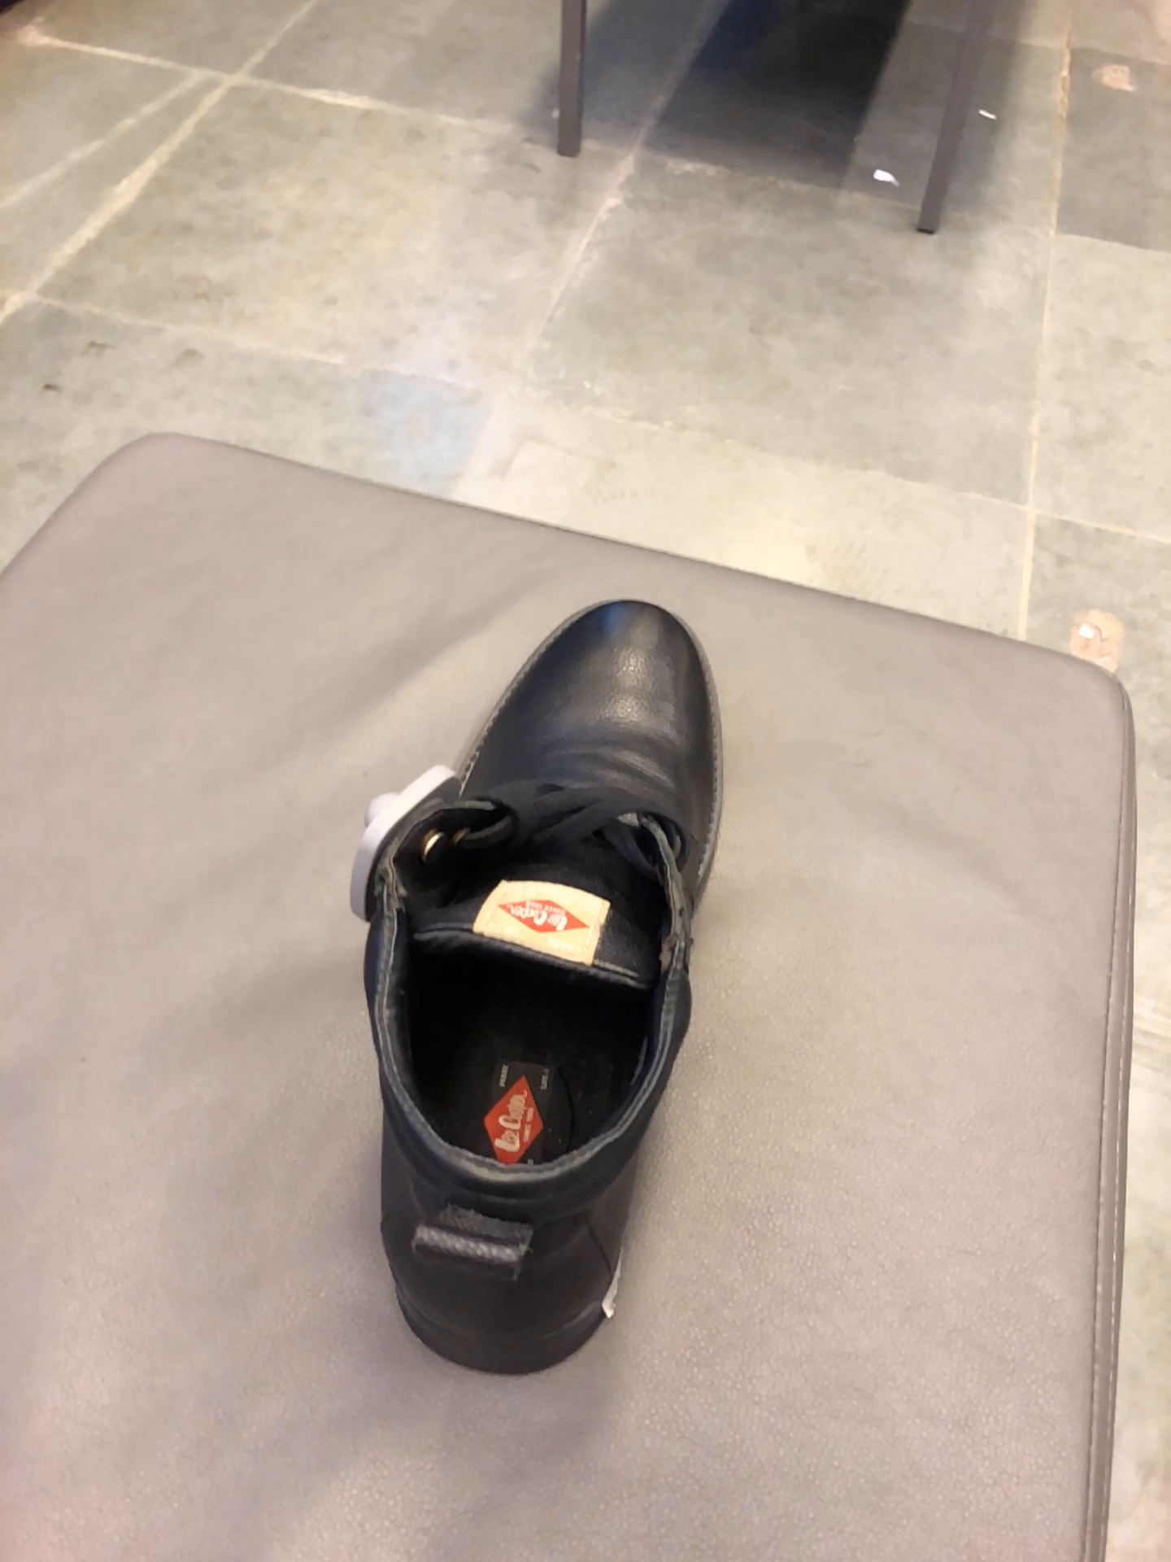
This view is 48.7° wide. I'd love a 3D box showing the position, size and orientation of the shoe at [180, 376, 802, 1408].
[{"bbox_3d":[-0.011,0.023,0.422,0.111,0.149,0.285,11,52,4],"label":"shoe"}]
